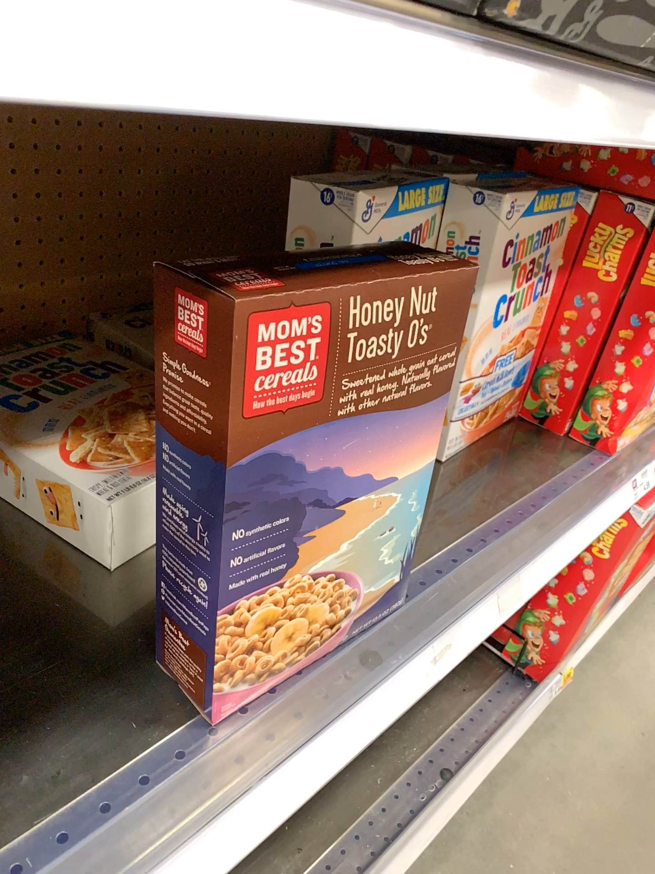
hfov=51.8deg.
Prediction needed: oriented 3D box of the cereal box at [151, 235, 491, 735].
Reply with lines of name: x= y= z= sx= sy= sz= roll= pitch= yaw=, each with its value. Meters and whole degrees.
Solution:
cereal box: x=-0.009 y=0.023 z=0.443 sx=0.201 sy=0.279 sz=0.070 roll=-20 pitch=38 yaw=-41
